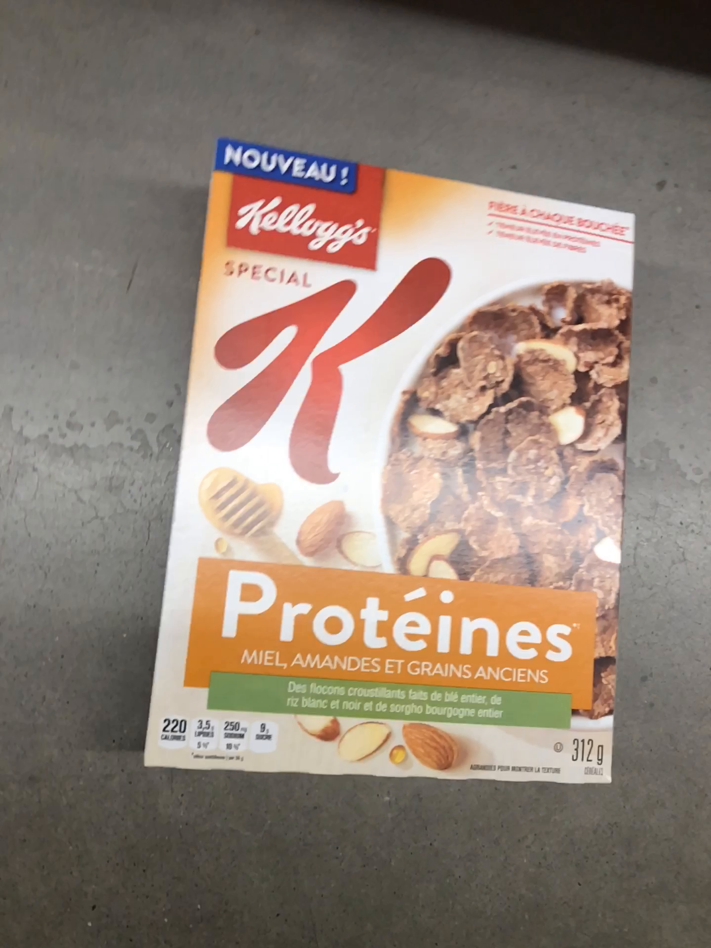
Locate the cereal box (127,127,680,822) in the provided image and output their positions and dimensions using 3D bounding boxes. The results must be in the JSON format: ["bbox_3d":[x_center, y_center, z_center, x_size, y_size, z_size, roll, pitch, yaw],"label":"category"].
[{"bbox_3d":[0.024,0.004,0.326,0.200,0.050,0.250,6,84,-10],"label":"cereal box"}]
